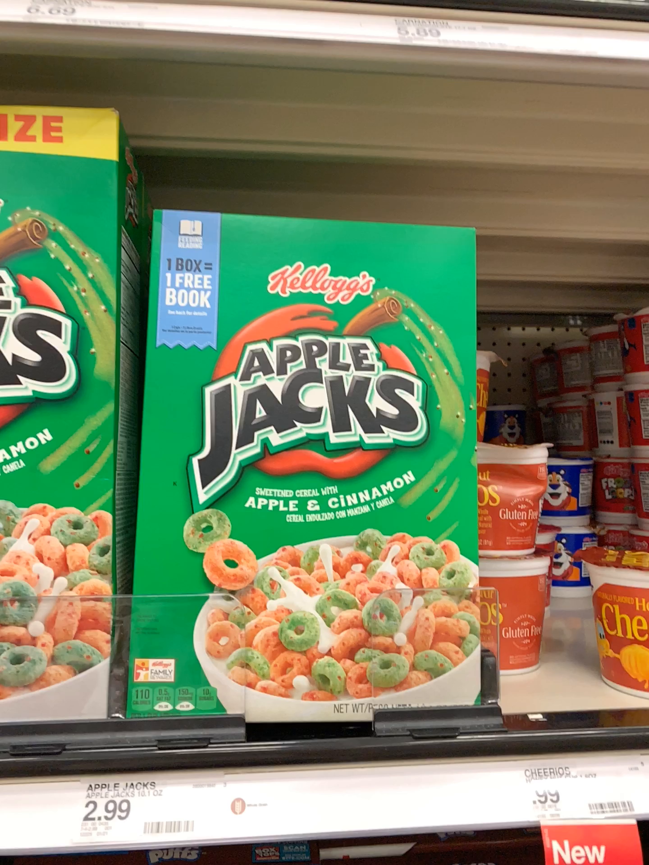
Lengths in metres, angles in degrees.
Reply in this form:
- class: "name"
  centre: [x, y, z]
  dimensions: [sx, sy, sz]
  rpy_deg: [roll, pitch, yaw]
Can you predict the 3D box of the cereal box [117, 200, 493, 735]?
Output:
- class: "cereal box"
  centre: [-0.010, 0.017, 0.404]
  dimensions: [0.200, 0.291, 0.060]
  rpy_deg: [1, -8, -7]
